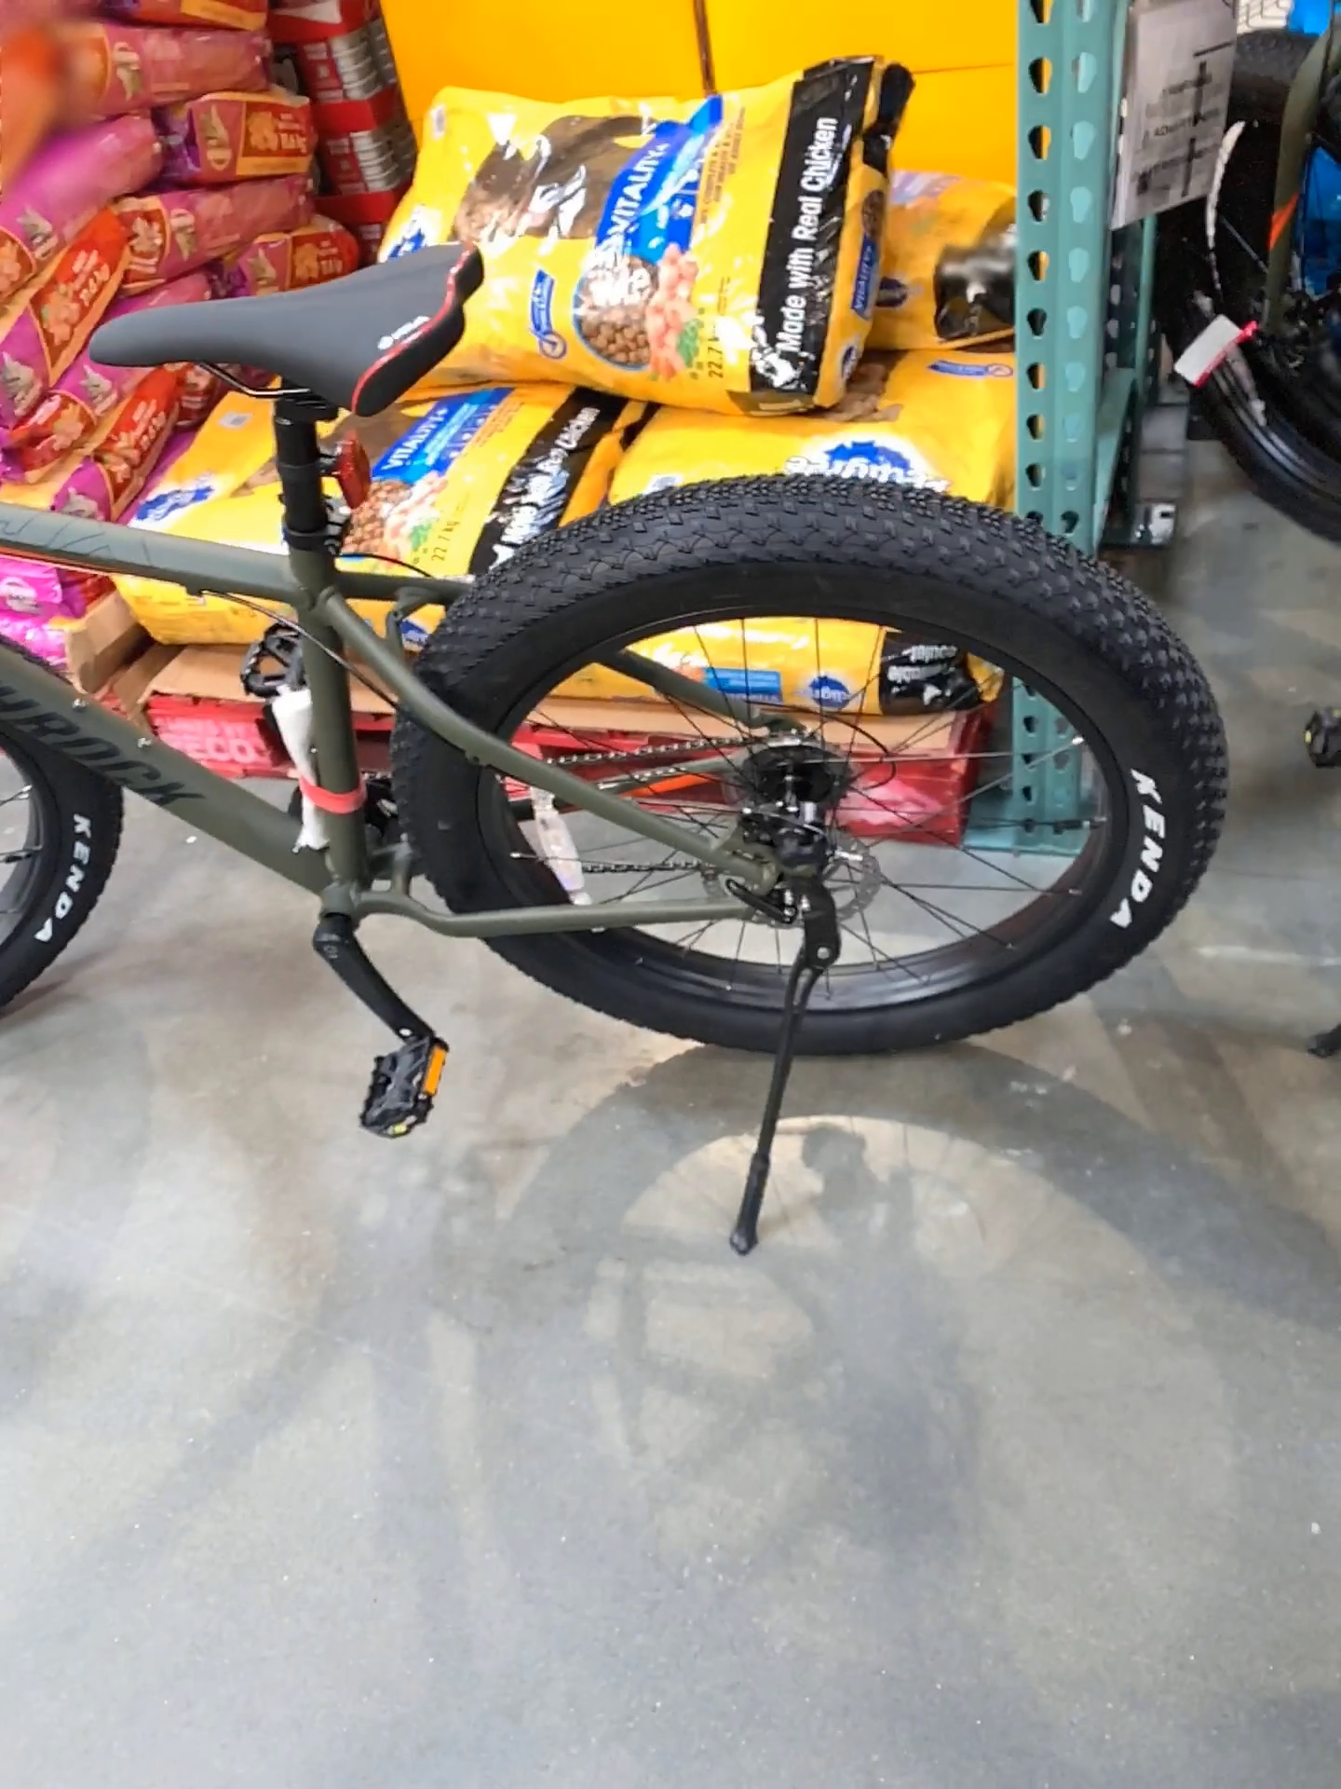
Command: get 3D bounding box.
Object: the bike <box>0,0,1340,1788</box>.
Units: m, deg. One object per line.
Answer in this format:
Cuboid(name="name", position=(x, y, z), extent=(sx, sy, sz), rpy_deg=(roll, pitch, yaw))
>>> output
Cuboid(name="bike", position=(-0.308, -0.026, 0.900), extent=(1.712, 1.203, 0.595), rpy_deg=(-9, 41, -8))
